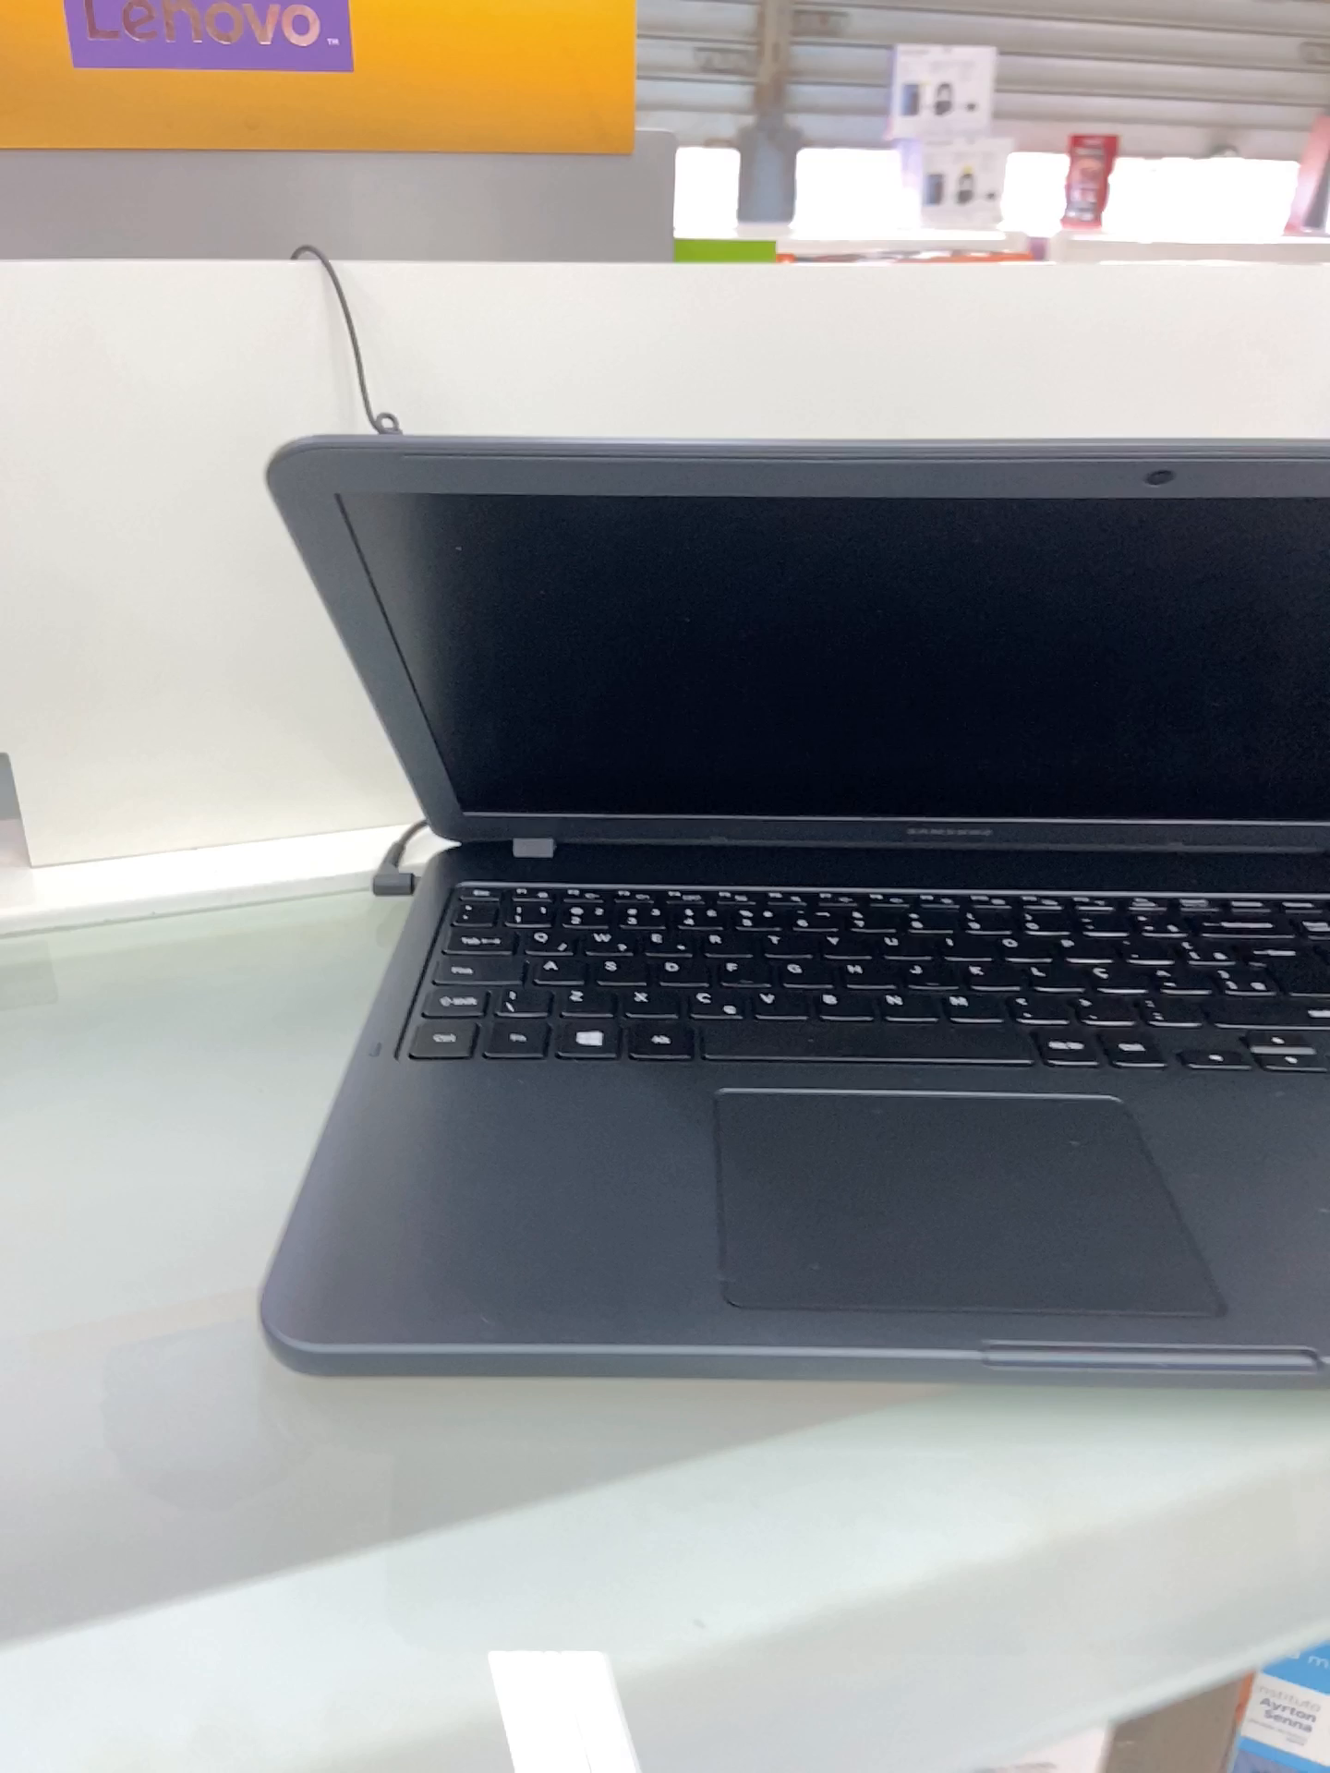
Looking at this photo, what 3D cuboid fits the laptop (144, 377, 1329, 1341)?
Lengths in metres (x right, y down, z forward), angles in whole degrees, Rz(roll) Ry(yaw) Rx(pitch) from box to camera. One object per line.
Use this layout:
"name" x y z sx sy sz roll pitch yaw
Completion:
"laptop" 0.100 -0.031 0.350 0.357 0.158 0.232 0 26 0
